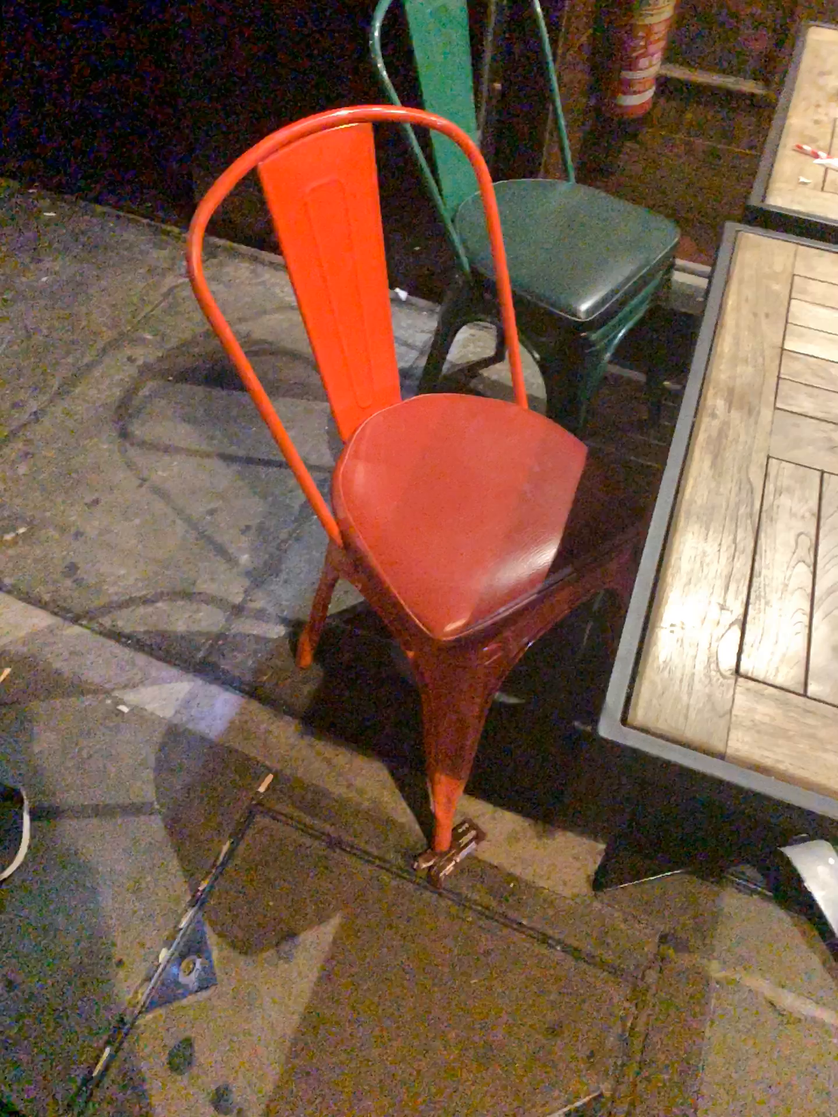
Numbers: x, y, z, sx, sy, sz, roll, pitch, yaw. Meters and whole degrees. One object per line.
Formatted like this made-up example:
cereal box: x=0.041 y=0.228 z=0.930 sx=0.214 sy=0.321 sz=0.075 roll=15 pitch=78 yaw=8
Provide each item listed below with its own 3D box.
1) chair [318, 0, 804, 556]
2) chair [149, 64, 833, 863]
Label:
chair: x=0.218 y=-0.527 z=1.500 sx=0.512 sy=0.833 sz=0.432 roll=35 pitch=61 yaw=30
chair: x=0.040 y=-0.088 z=1.127 sx=0.432 sy=0.813 sz=0.513 roll=-31 pitch=57 yaw=-27
